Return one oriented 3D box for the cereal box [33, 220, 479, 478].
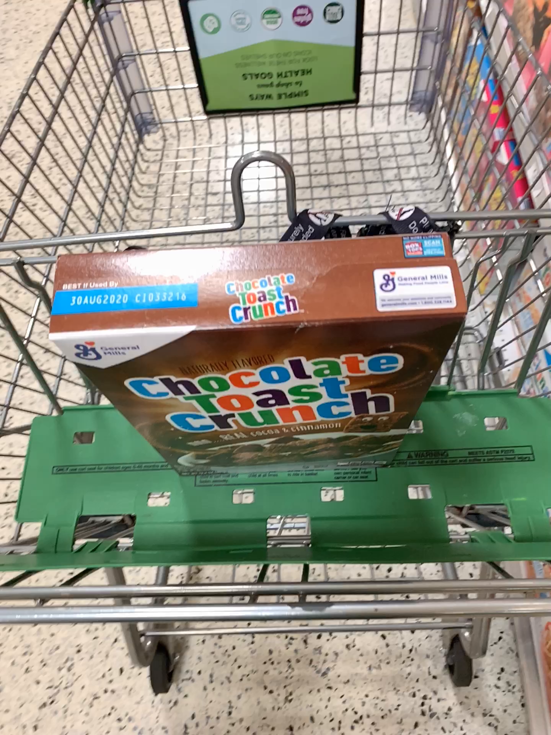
[{"bbox_3d":[-0.003,0.015,0.390,0.200,0.278,0.050,-3,66,2],"label":"cereal box"}]
